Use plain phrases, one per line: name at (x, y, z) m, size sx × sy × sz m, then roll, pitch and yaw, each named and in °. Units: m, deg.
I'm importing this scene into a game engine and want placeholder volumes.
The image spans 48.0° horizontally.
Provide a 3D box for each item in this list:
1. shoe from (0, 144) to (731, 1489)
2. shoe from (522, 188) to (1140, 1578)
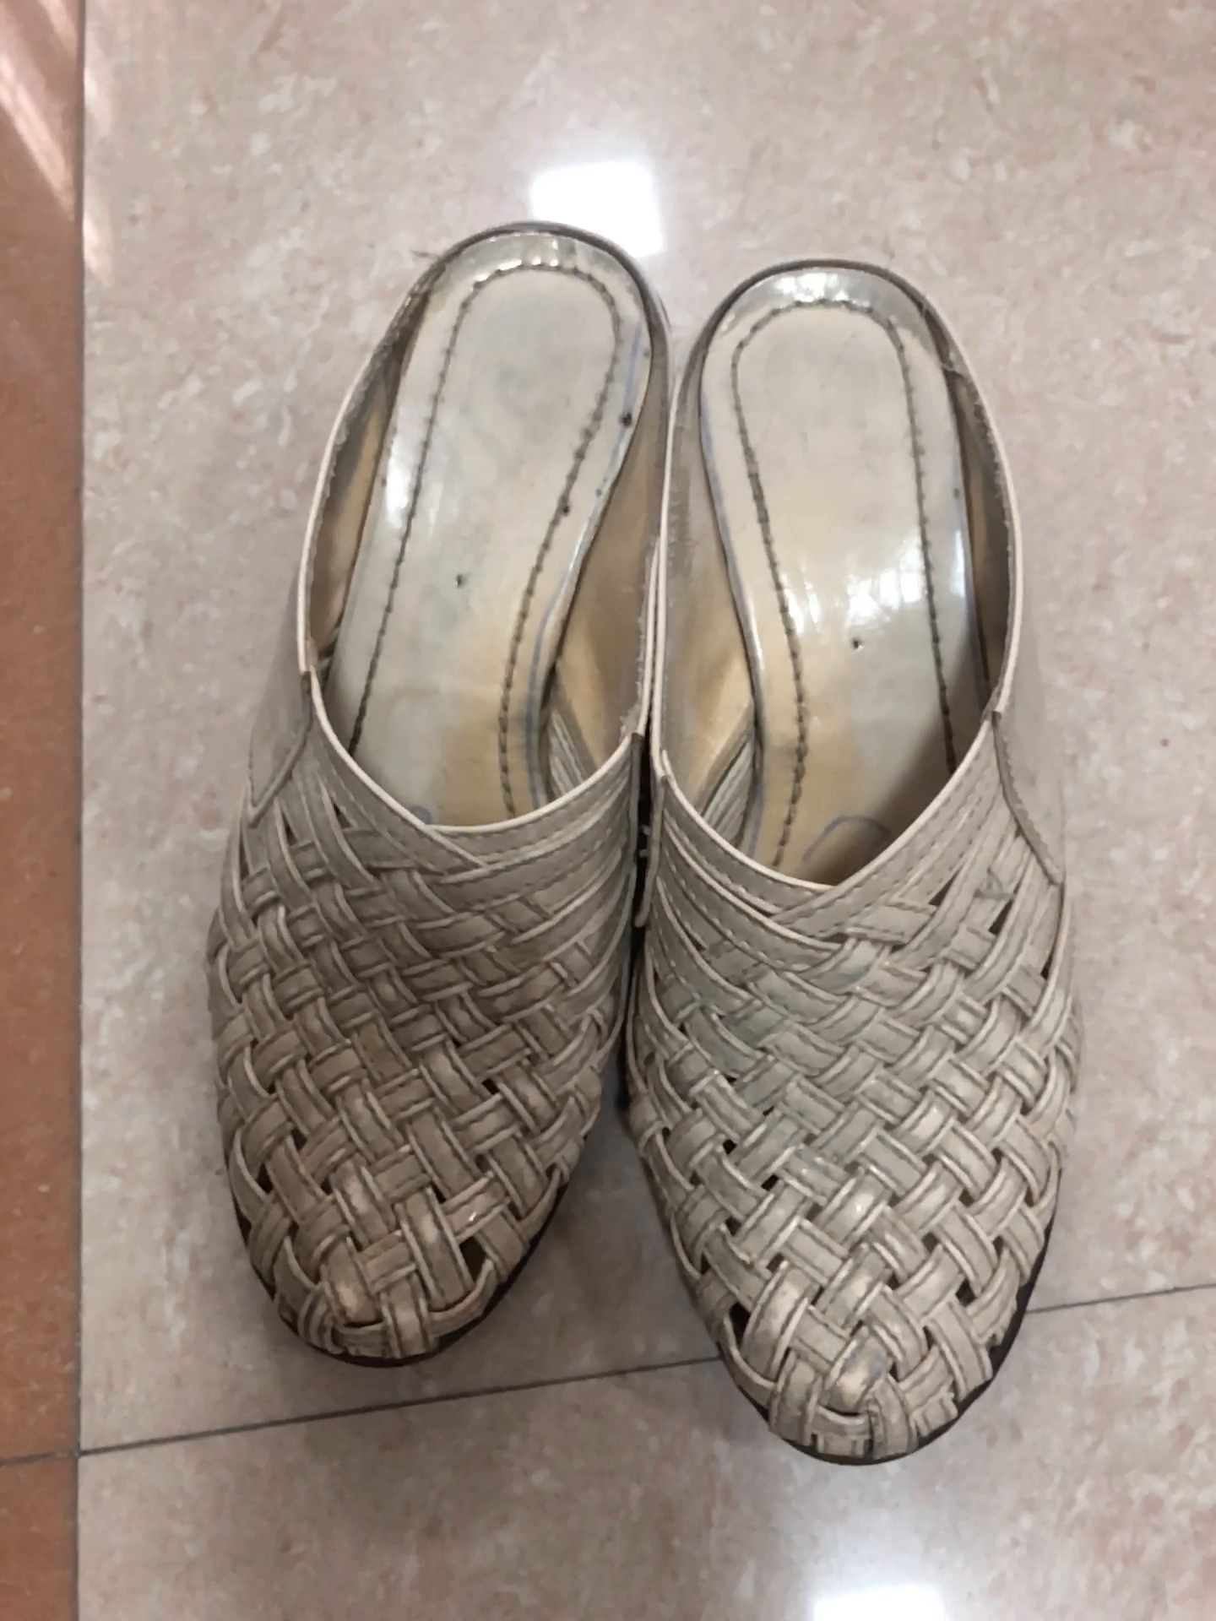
shoe at (-0.037, -0.007, 0.281) m, size 0.090 × 0.080 × 0.240 m, roll 8°, pitch 74°, yaw 8°
shoe at (0.040, 0.007, 0.274) m, size 0.090 × 0.080 × 0.240 m, roll -1°, pitch 73°, yaw 8°
